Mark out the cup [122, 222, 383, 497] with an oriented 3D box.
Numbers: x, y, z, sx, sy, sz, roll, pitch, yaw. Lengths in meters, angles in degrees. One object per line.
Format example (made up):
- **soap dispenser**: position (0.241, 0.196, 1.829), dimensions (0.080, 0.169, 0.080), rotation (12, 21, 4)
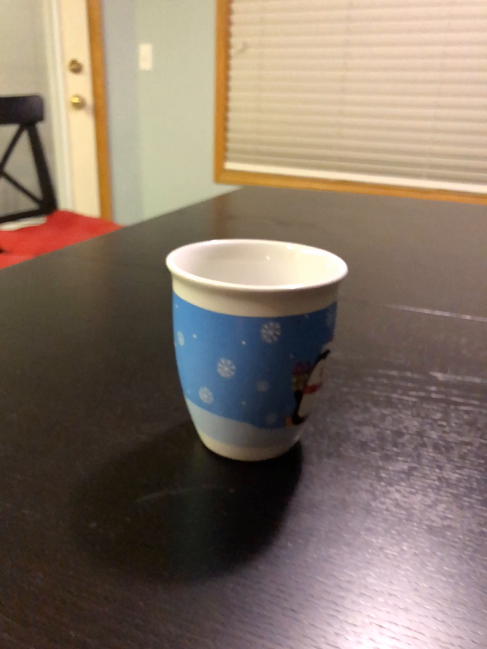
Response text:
- **cup**: position (0.013, 0.006, 0.330), dimensions (0.100, 0.100, 0.141), rotation (11, 24, 22)
